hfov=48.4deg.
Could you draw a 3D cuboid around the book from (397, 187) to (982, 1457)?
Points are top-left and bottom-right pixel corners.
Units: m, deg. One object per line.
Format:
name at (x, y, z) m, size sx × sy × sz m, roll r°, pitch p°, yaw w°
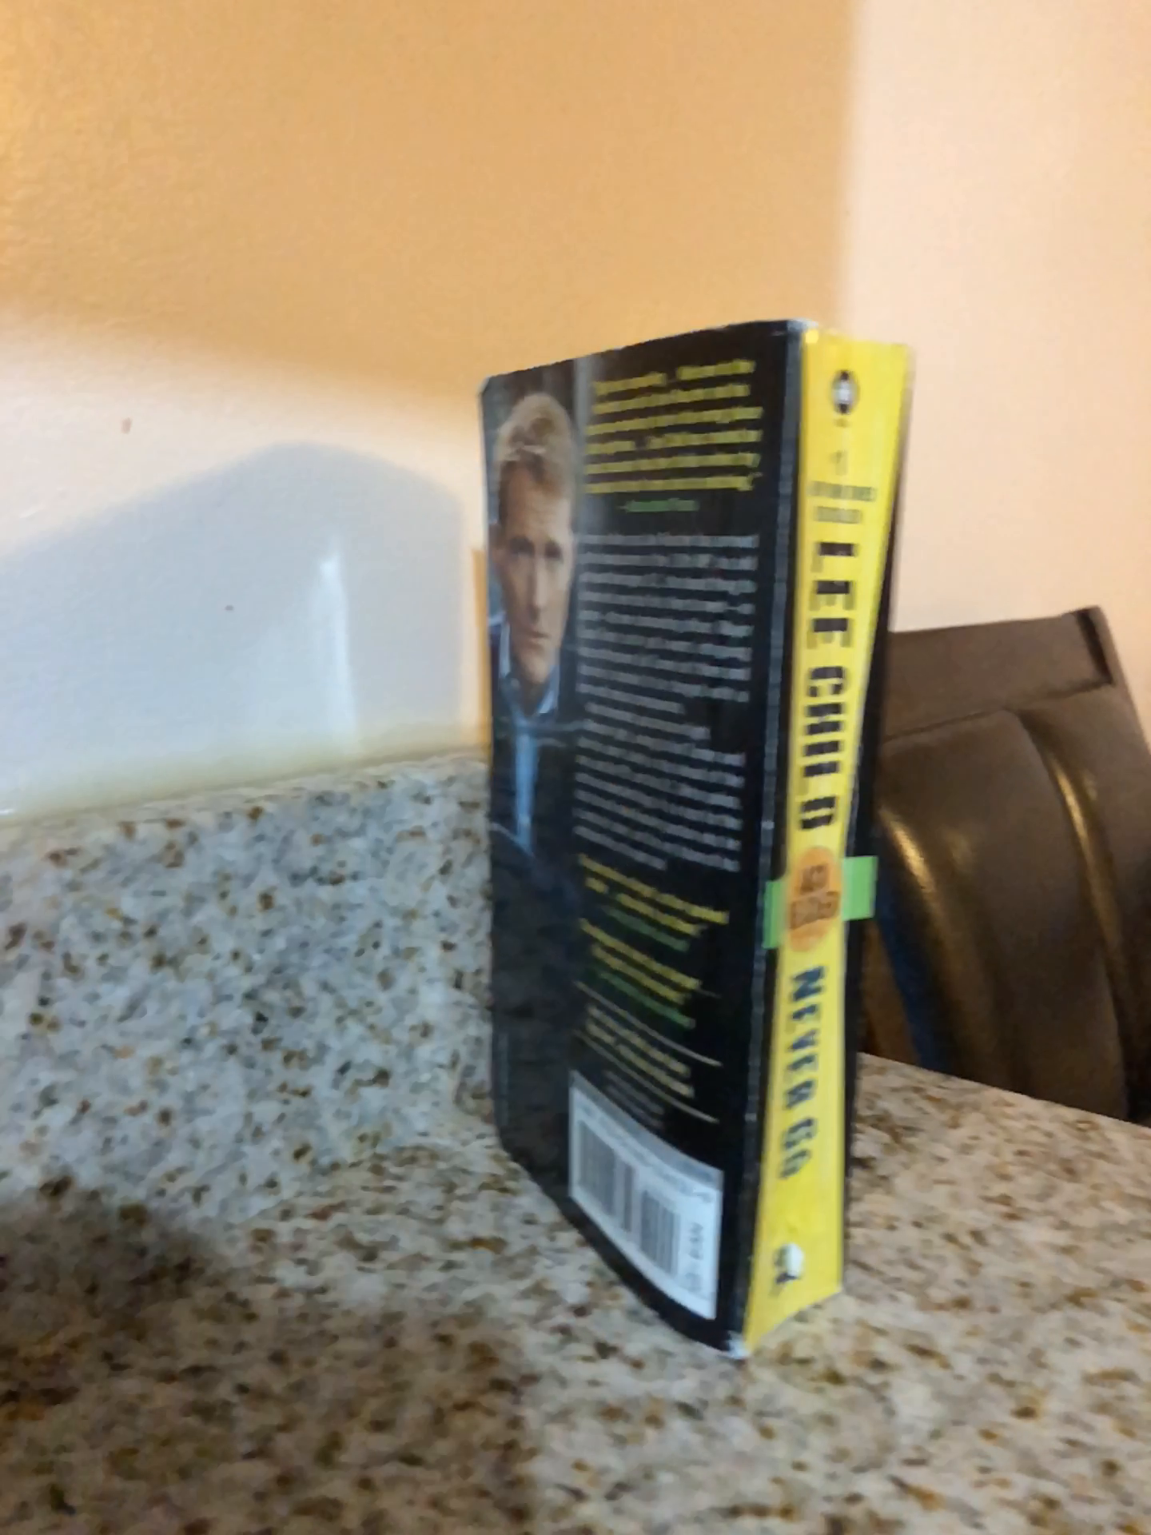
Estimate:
book at (0.010, 0.004, 0.301) m, size 0.050 × 0.220 × 0.160 m, roll -1°, pitch 8°, yaw -25°
